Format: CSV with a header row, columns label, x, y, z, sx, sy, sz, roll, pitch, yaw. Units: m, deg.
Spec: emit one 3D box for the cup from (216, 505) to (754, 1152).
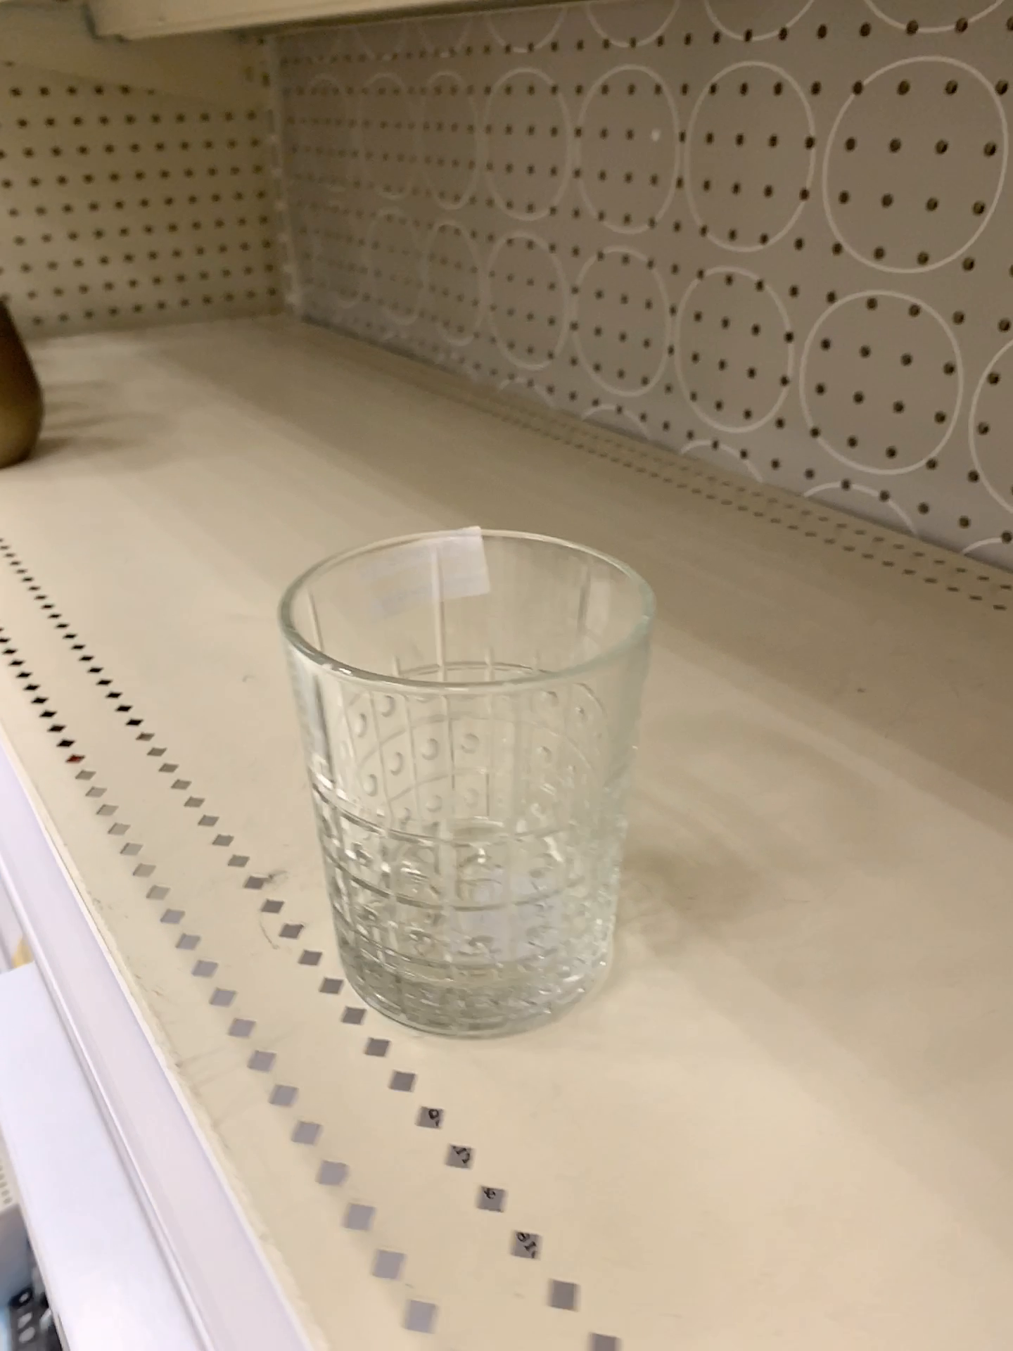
label,x,y,z,sx,sy,sz,roll,pitch,yaw
cup,-0.007,0.031,0.270,0.090,0.109,0.090,-1,30,0
